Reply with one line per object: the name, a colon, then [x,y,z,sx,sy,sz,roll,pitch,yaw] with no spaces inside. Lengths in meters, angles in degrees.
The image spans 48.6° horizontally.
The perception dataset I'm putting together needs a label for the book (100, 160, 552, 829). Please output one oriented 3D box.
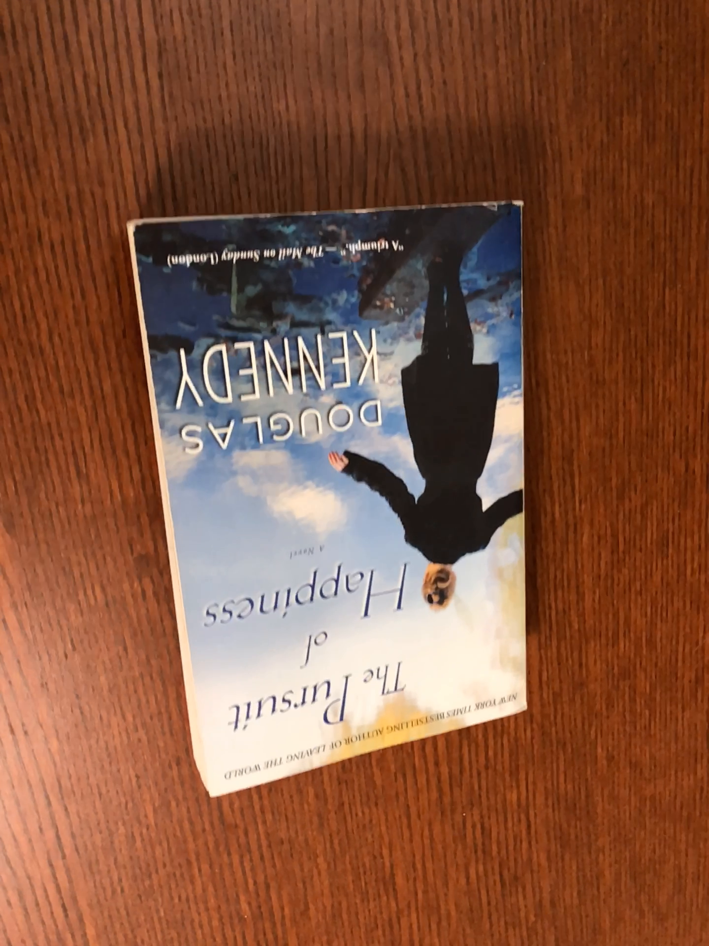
book: [-0.003,0.006,0.320,0.160,0.050,0.240,-8,105,-16]
